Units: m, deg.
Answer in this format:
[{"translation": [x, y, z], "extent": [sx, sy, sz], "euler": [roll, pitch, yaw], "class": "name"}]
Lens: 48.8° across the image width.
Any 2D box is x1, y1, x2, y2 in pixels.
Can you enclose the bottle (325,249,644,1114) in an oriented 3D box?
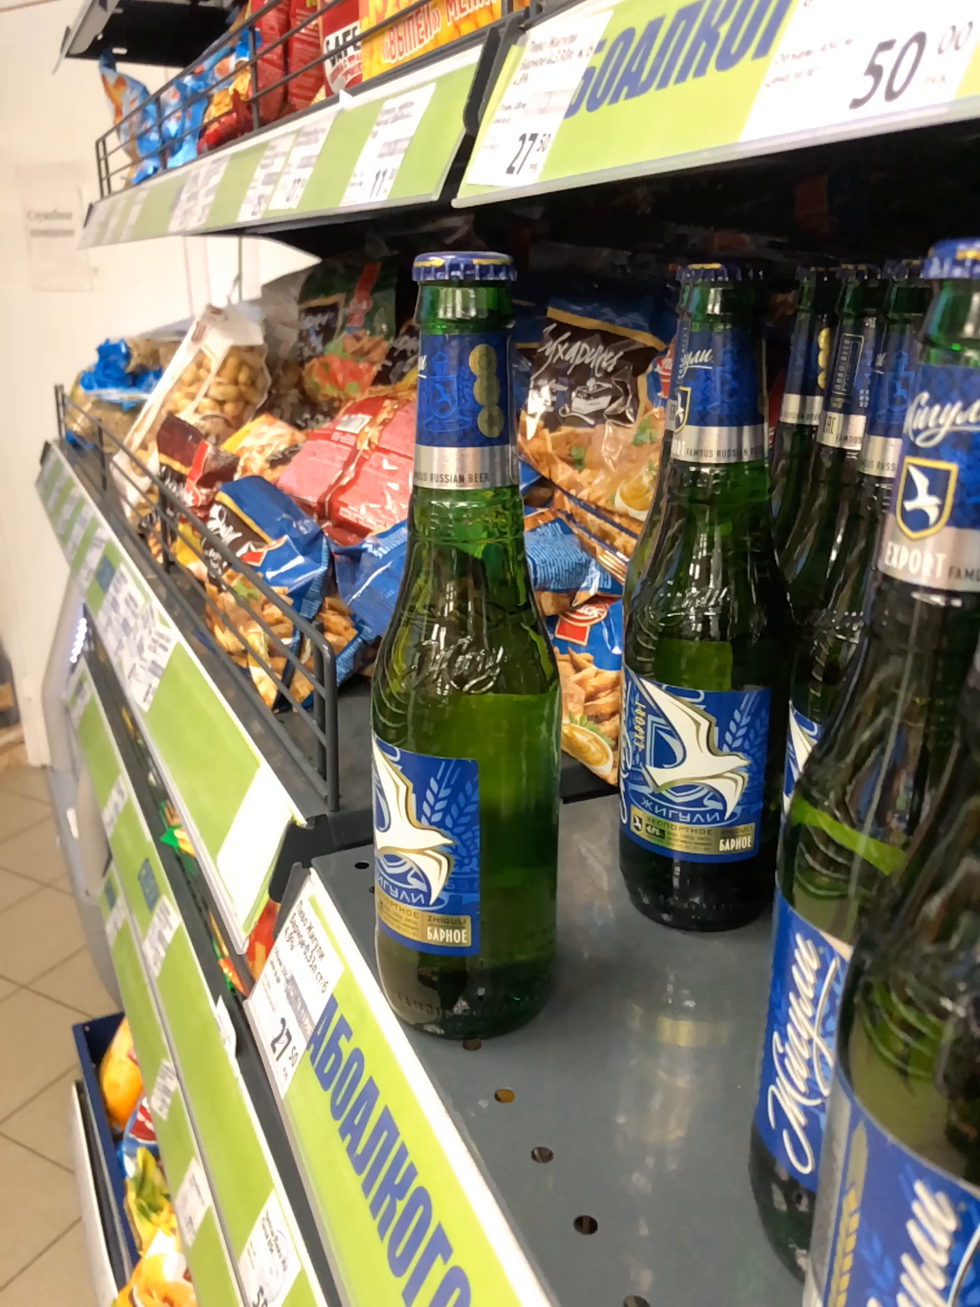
[{"translation": [-0.001, 0.009, 0.321], "extent": [0.063, 0.239, 0.063], "euler": [-1, 19, 0], "class": "bottle"}]
